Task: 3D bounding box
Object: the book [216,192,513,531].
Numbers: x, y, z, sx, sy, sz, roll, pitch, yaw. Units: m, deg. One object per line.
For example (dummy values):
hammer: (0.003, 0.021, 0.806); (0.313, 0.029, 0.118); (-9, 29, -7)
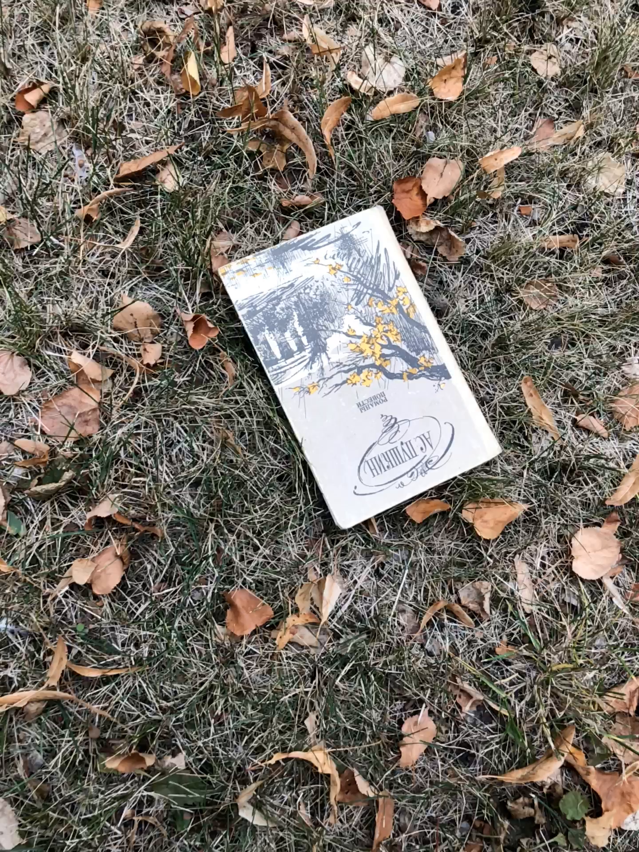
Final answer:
book: (0.031, -0.050, 0.510); (0.135, 0.021, 0.210); (-25, 84, -10)
